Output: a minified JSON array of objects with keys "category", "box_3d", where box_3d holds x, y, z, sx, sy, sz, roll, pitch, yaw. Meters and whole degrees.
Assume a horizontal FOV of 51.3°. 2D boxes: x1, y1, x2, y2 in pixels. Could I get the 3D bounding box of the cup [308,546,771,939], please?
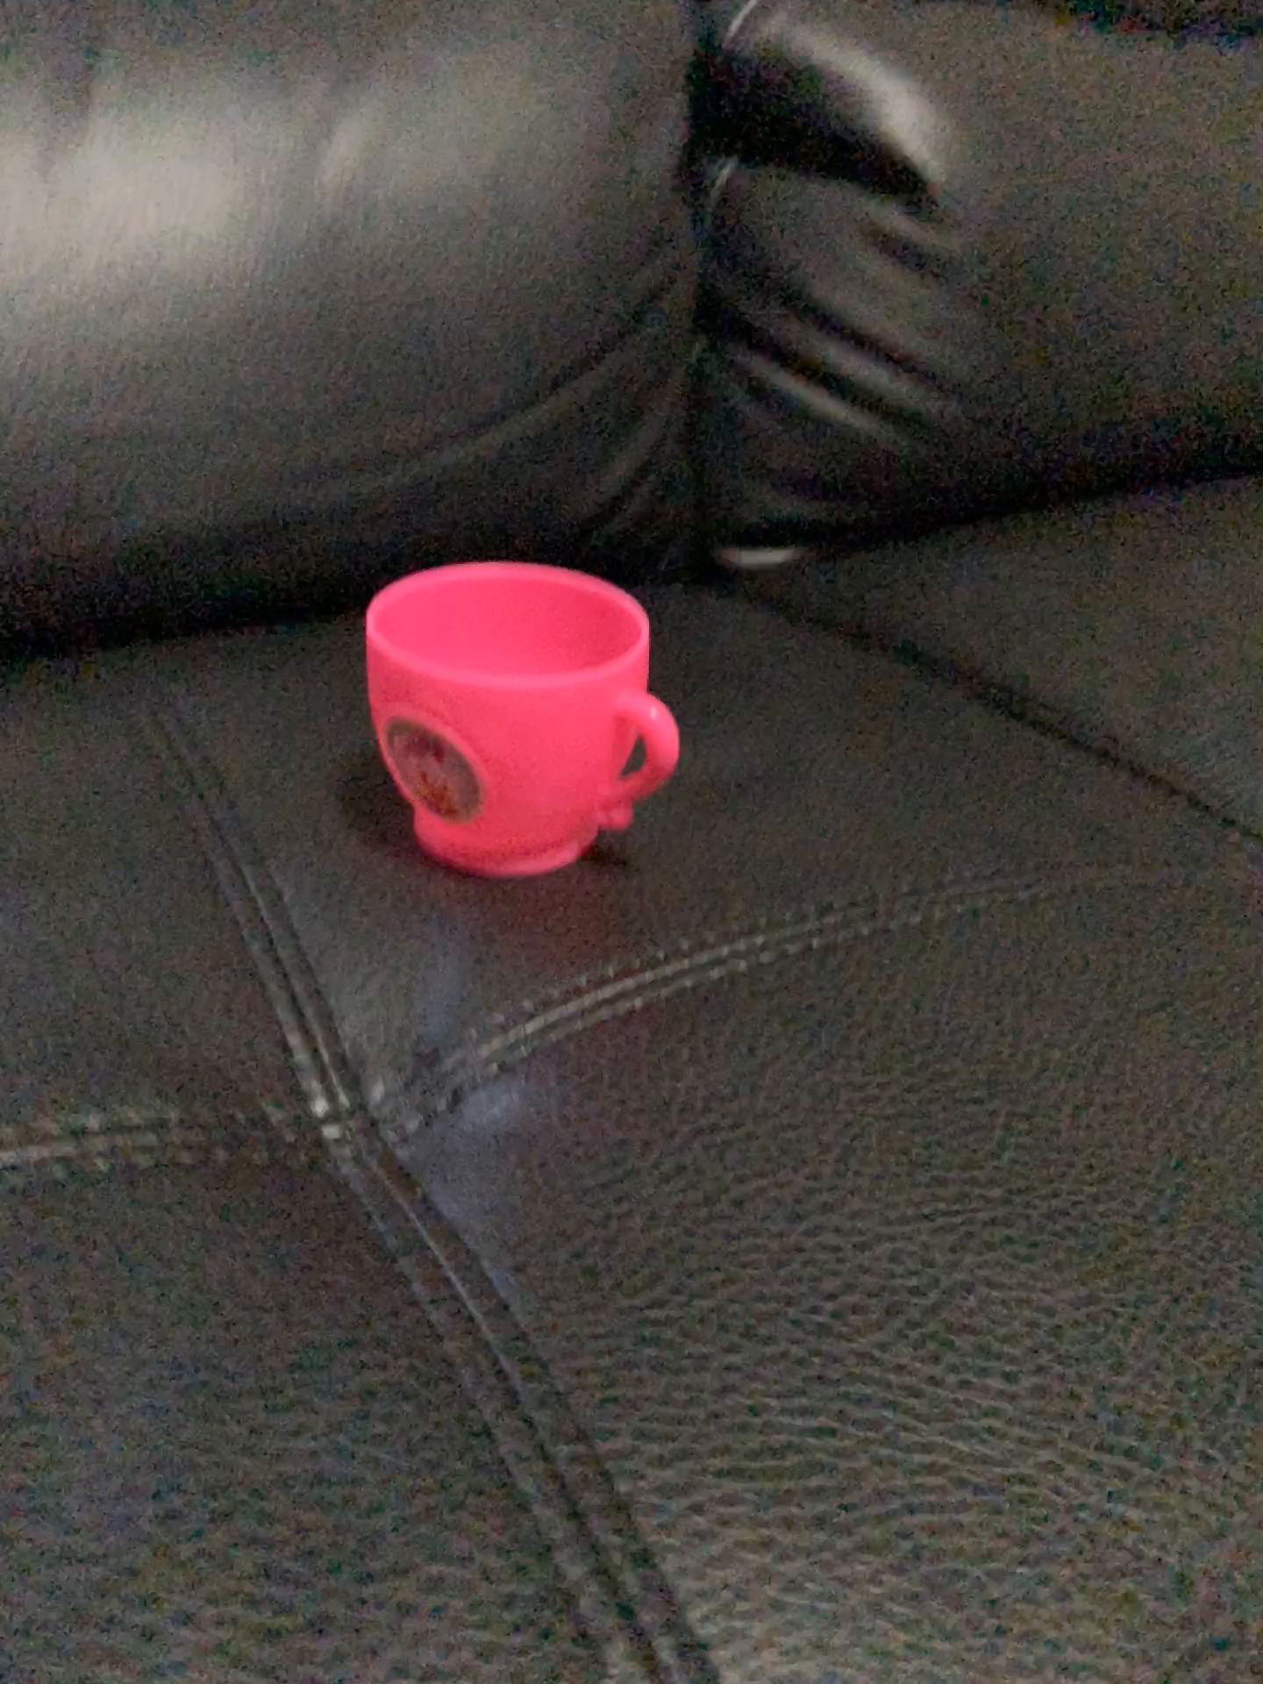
[{"category":"cup","box_3d":[-0.020,-0.026,0.282,0.073,0.047,0.061,23,35,30]}]
